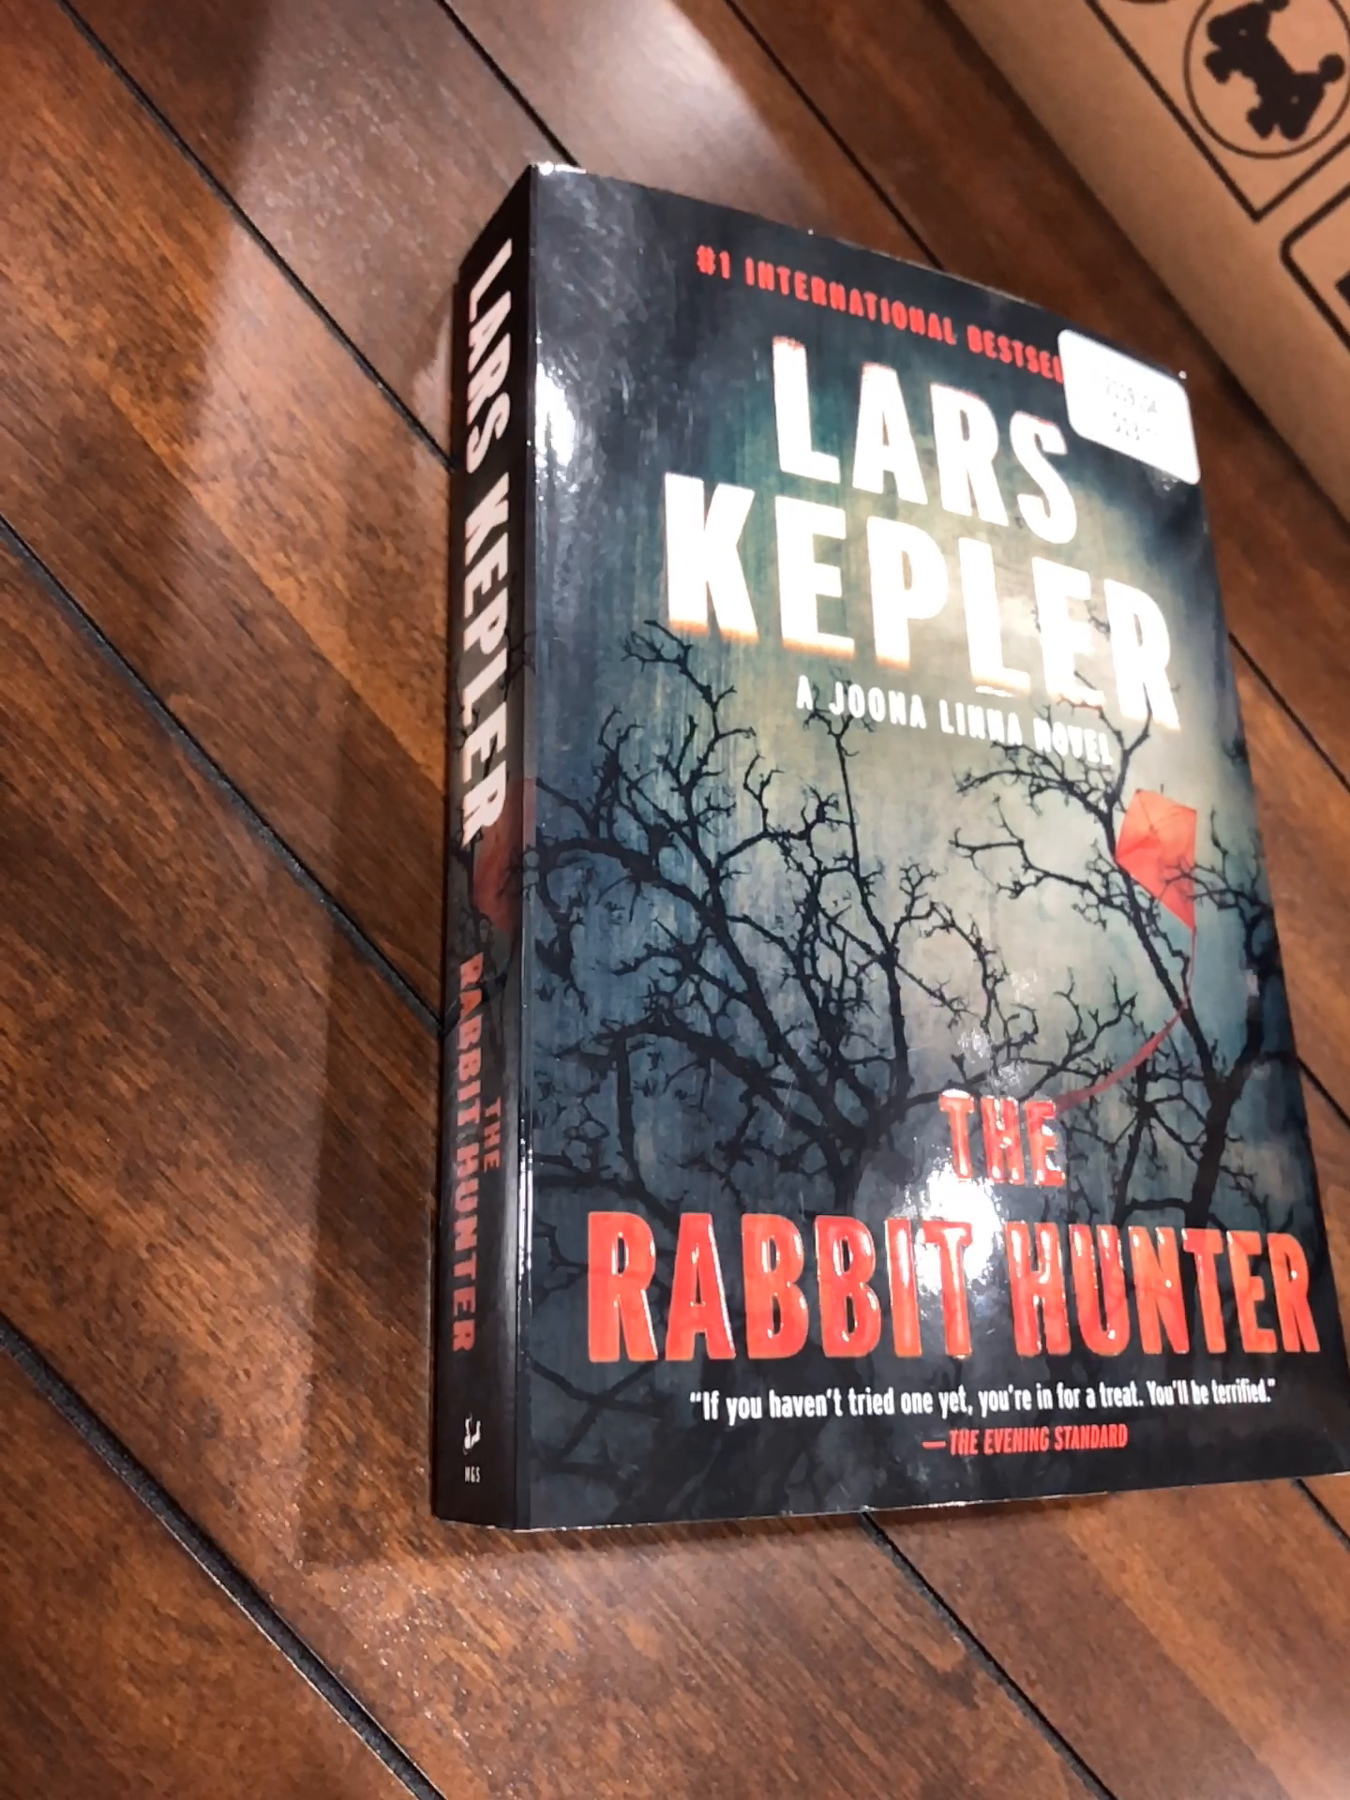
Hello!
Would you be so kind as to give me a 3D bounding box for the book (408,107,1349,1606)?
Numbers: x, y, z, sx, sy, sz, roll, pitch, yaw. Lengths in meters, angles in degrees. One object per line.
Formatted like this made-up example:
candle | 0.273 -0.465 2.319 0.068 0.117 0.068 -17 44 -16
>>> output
book | 0.040 -0.007 0.264 0.160 0.046 0.222 8 69 -26
